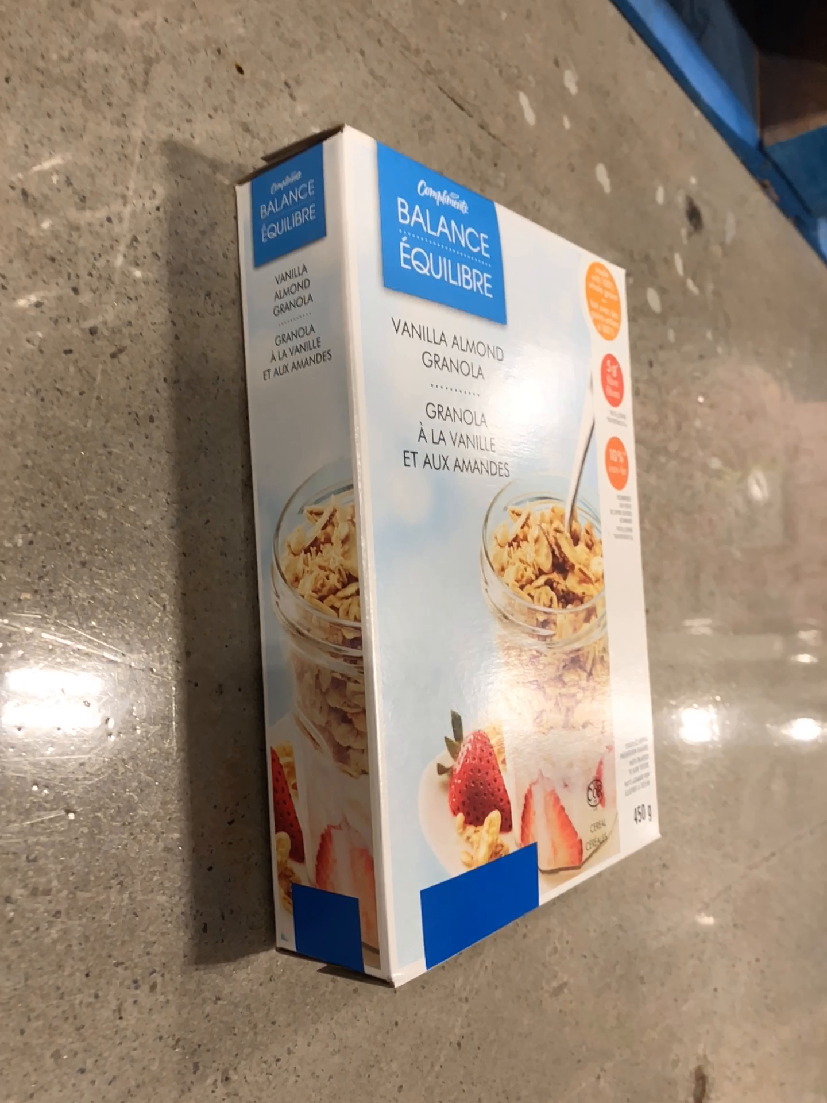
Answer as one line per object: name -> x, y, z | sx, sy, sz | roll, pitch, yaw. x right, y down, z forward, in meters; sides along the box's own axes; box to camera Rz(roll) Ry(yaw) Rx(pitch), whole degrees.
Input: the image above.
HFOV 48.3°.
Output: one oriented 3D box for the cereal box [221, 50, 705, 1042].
cereal box -> 0.031, -0.002, 0.312 | 0.191, 0.050, 0.240 | 0, 87, -50
